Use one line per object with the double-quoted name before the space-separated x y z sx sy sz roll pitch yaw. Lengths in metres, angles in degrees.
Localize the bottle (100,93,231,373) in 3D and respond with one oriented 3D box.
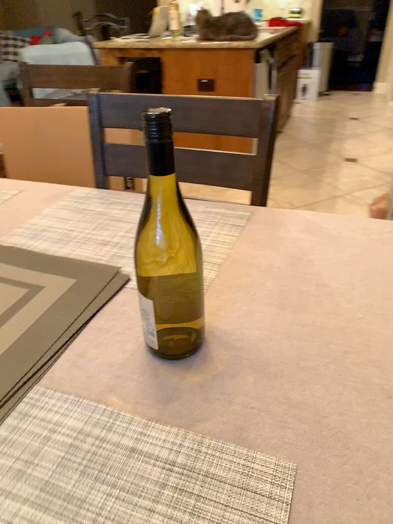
"bottle" -0.024 -0.024 0.464 0.090 0.298 0.090 -1 33 1
